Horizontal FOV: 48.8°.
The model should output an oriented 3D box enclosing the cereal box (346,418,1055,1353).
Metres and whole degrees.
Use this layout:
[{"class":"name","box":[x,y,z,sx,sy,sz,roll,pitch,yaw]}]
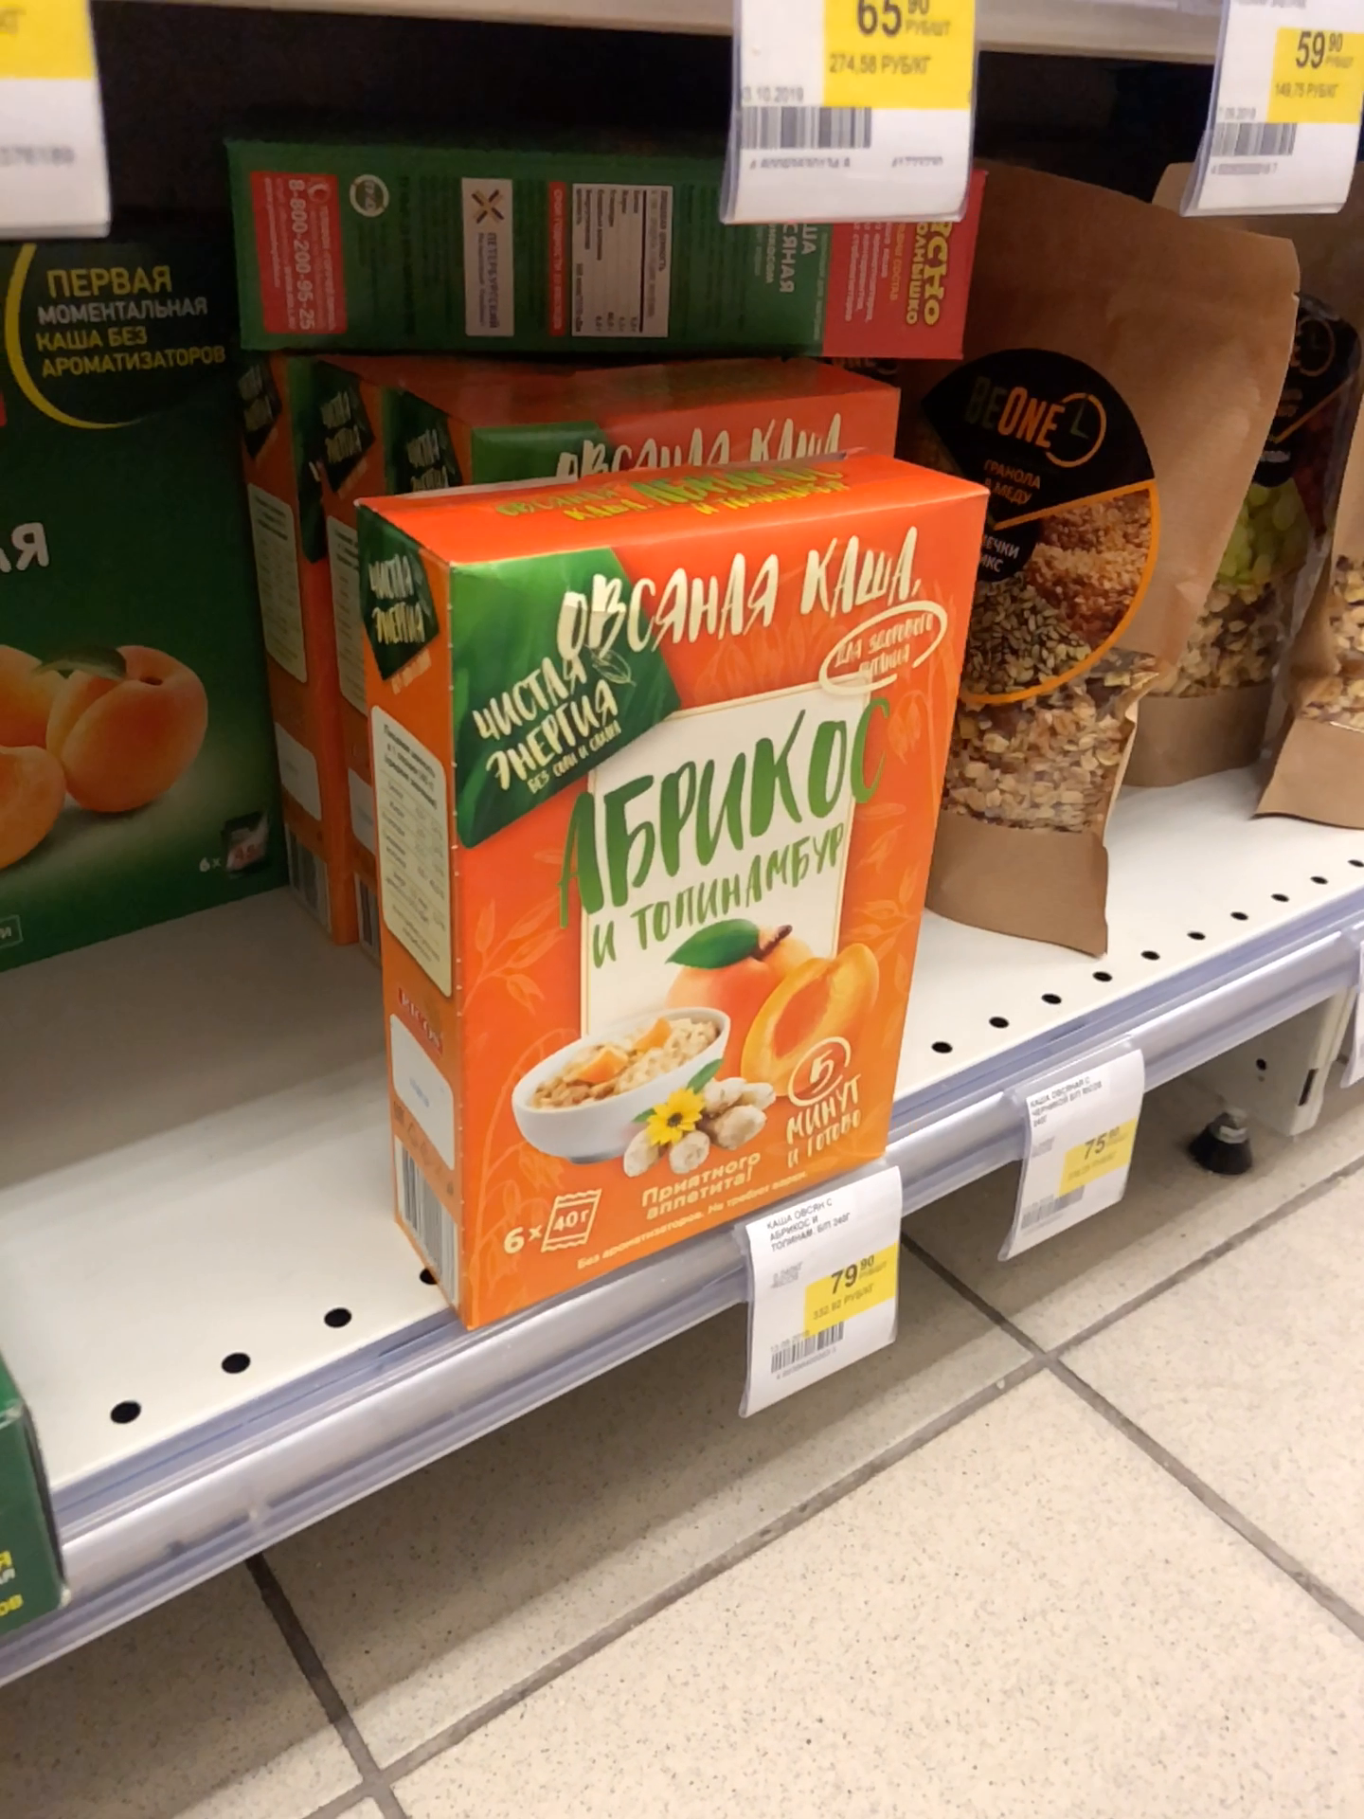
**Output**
[{"class":"cereal box","box":[0.003,-0.007,0.353,0.140,0.189,0.050,-16,35,-29]}]
